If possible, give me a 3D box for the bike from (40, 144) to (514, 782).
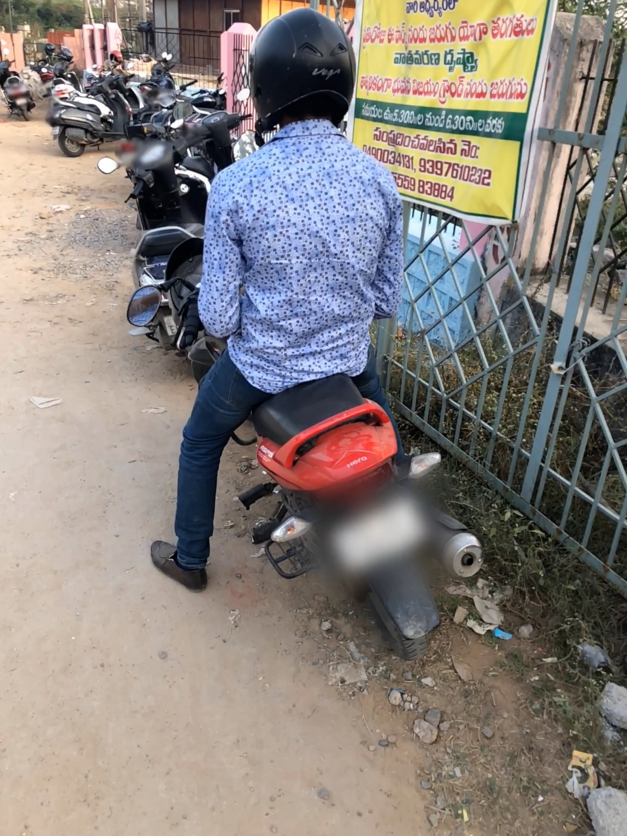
[{"bbox_3d":[-0.314,-0.076,2.126,0.583,1.176,1.695,-11,33,-26],"label":"bike"}]
